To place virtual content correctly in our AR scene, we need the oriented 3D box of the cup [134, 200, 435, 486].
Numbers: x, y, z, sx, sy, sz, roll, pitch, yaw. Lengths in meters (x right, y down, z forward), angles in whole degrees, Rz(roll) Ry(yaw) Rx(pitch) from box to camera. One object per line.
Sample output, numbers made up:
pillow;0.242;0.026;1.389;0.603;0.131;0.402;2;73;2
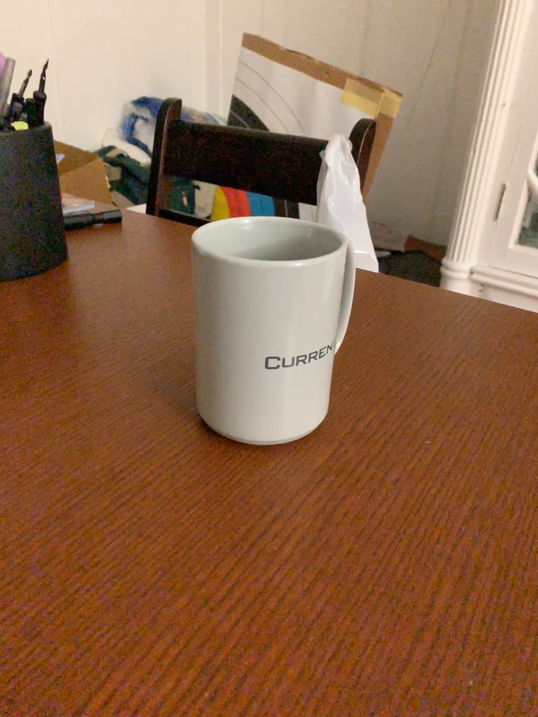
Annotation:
cup;0.010;-0.022;0.338;0.140;0.109;0.100;-23;38;-38
